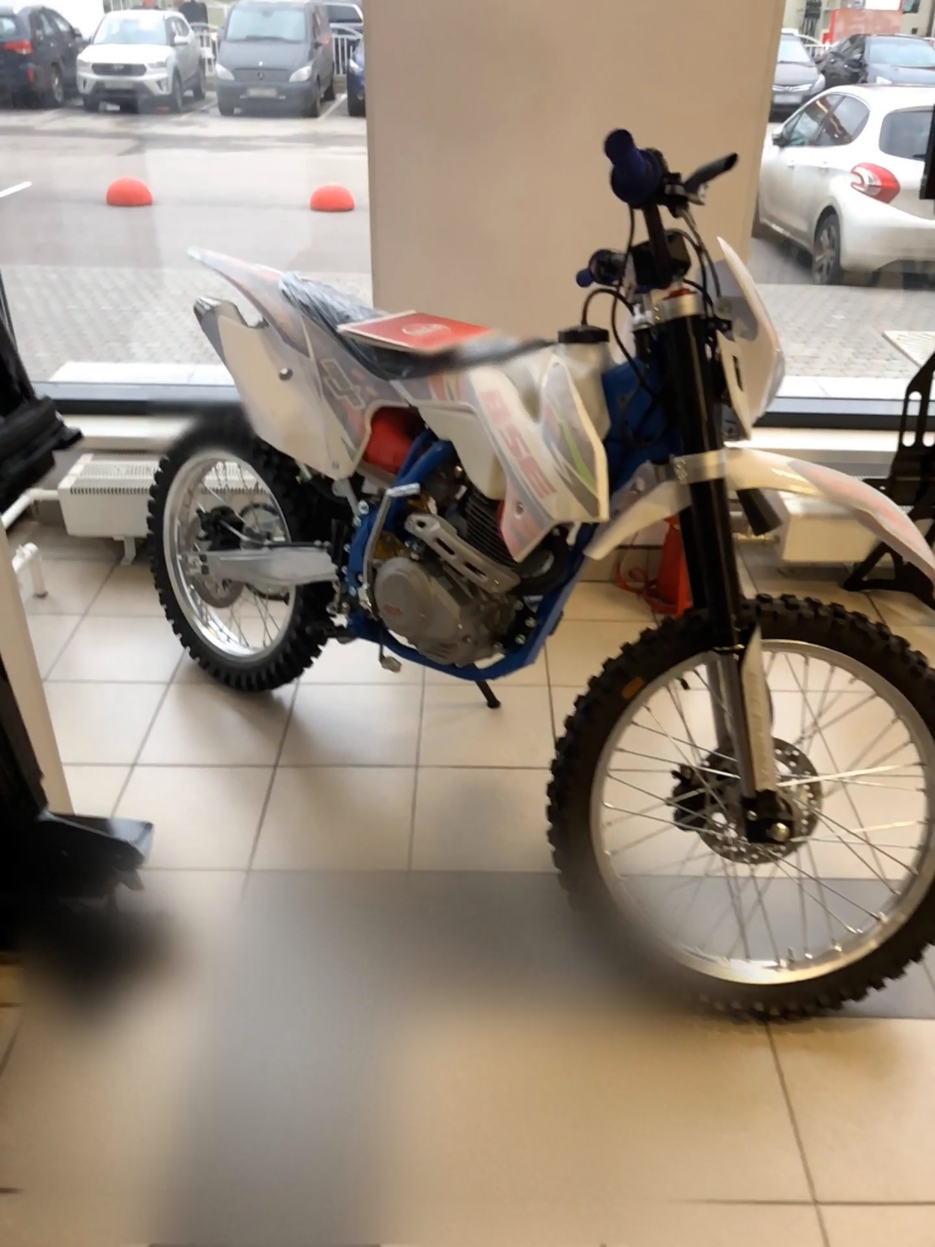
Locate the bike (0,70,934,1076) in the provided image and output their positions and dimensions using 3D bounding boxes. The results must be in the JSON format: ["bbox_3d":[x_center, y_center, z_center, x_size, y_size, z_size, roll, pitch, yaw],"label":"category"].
[{"bbox_3d":[0.117,-0.289,1.994,1.847,1.219,0.846,21,36,27],"label":"bike"}]
